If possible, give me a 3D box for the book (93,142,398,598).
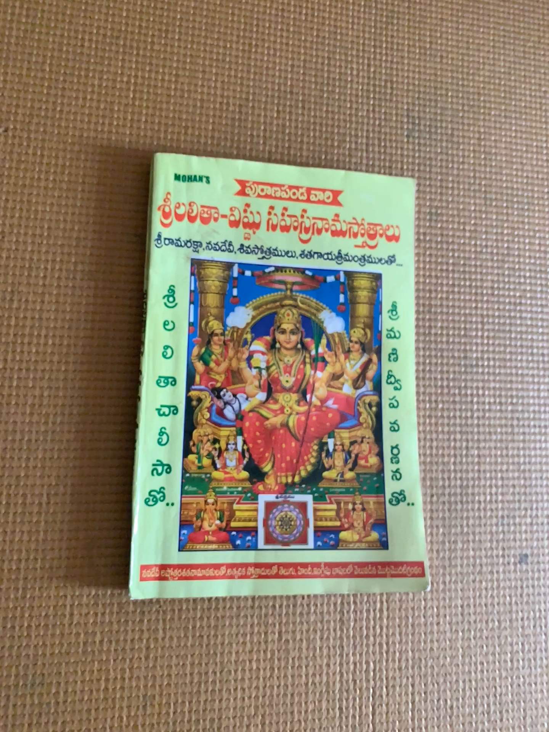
[{"bbox_3d":[-0.010,0.000,0.285,0.140,0.020,0.210,2,82,-11],"label":"book"}]
